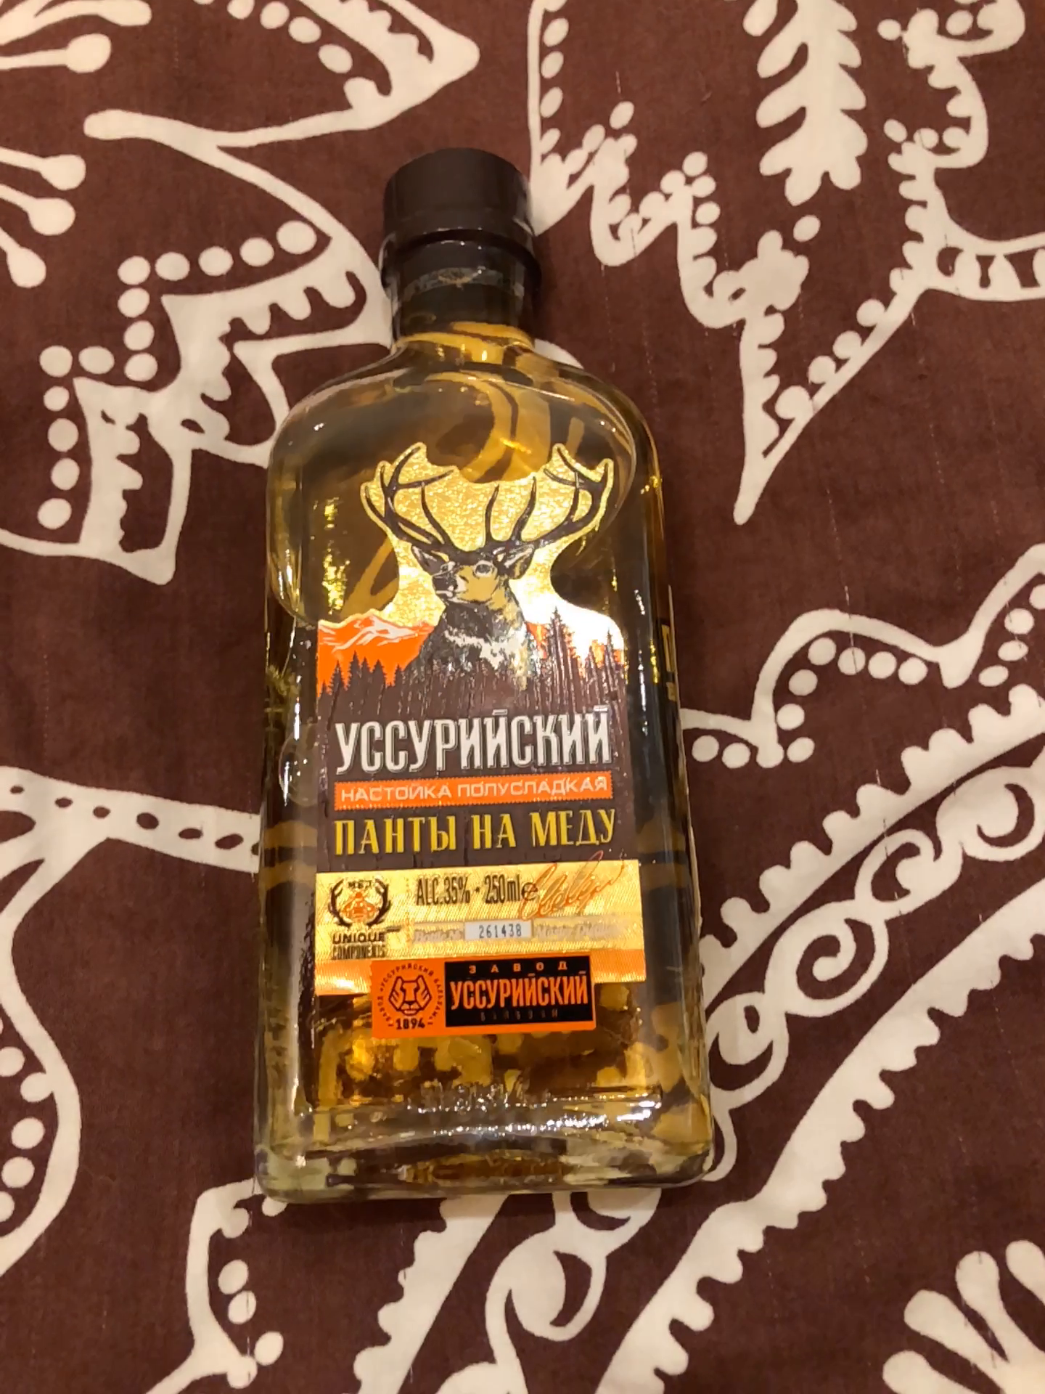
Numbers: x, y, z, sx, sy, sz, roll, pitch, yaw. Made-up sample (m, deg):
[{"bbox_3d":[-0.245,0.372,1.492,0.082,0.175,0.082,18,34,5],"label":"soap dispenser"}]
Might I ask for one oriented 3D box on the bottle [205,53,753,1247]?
[{"bbox_3d":[-0.008,-0.014,0.201,0.070,0.050,0.190,-3,72,2],"label":"bottle"}]
